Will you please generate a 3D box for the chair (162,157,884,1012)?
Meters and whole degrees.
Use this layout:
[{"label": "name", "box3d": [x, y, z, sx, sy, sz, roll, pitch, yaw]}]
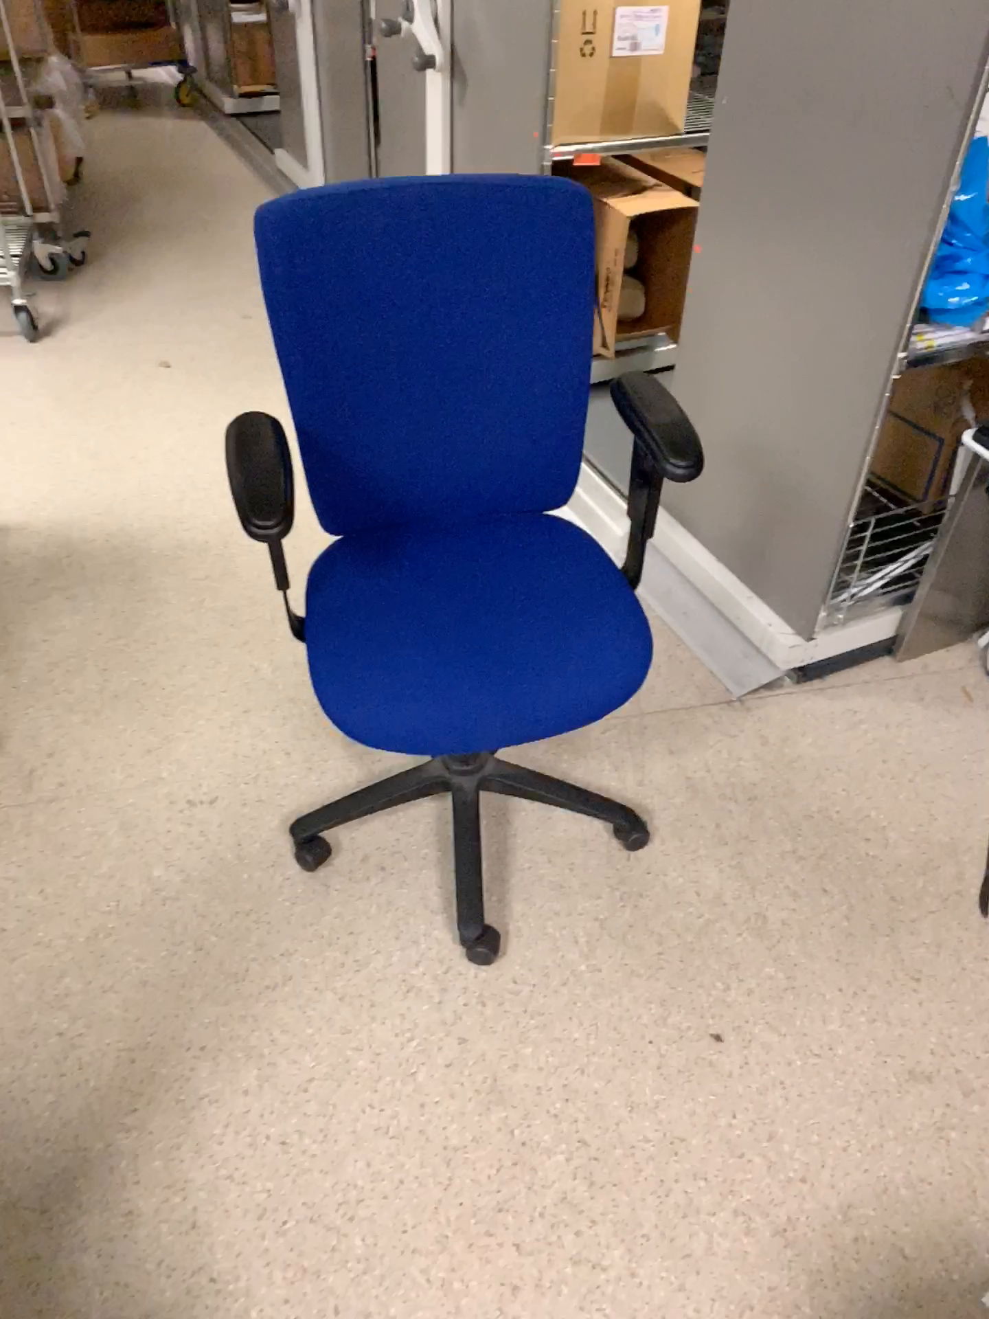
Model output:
[{"label": "chair", "box3d": [-0.045, -0.140, 1.532, 0.671, 0.931, 0.767, -11, 42, -15]}]
